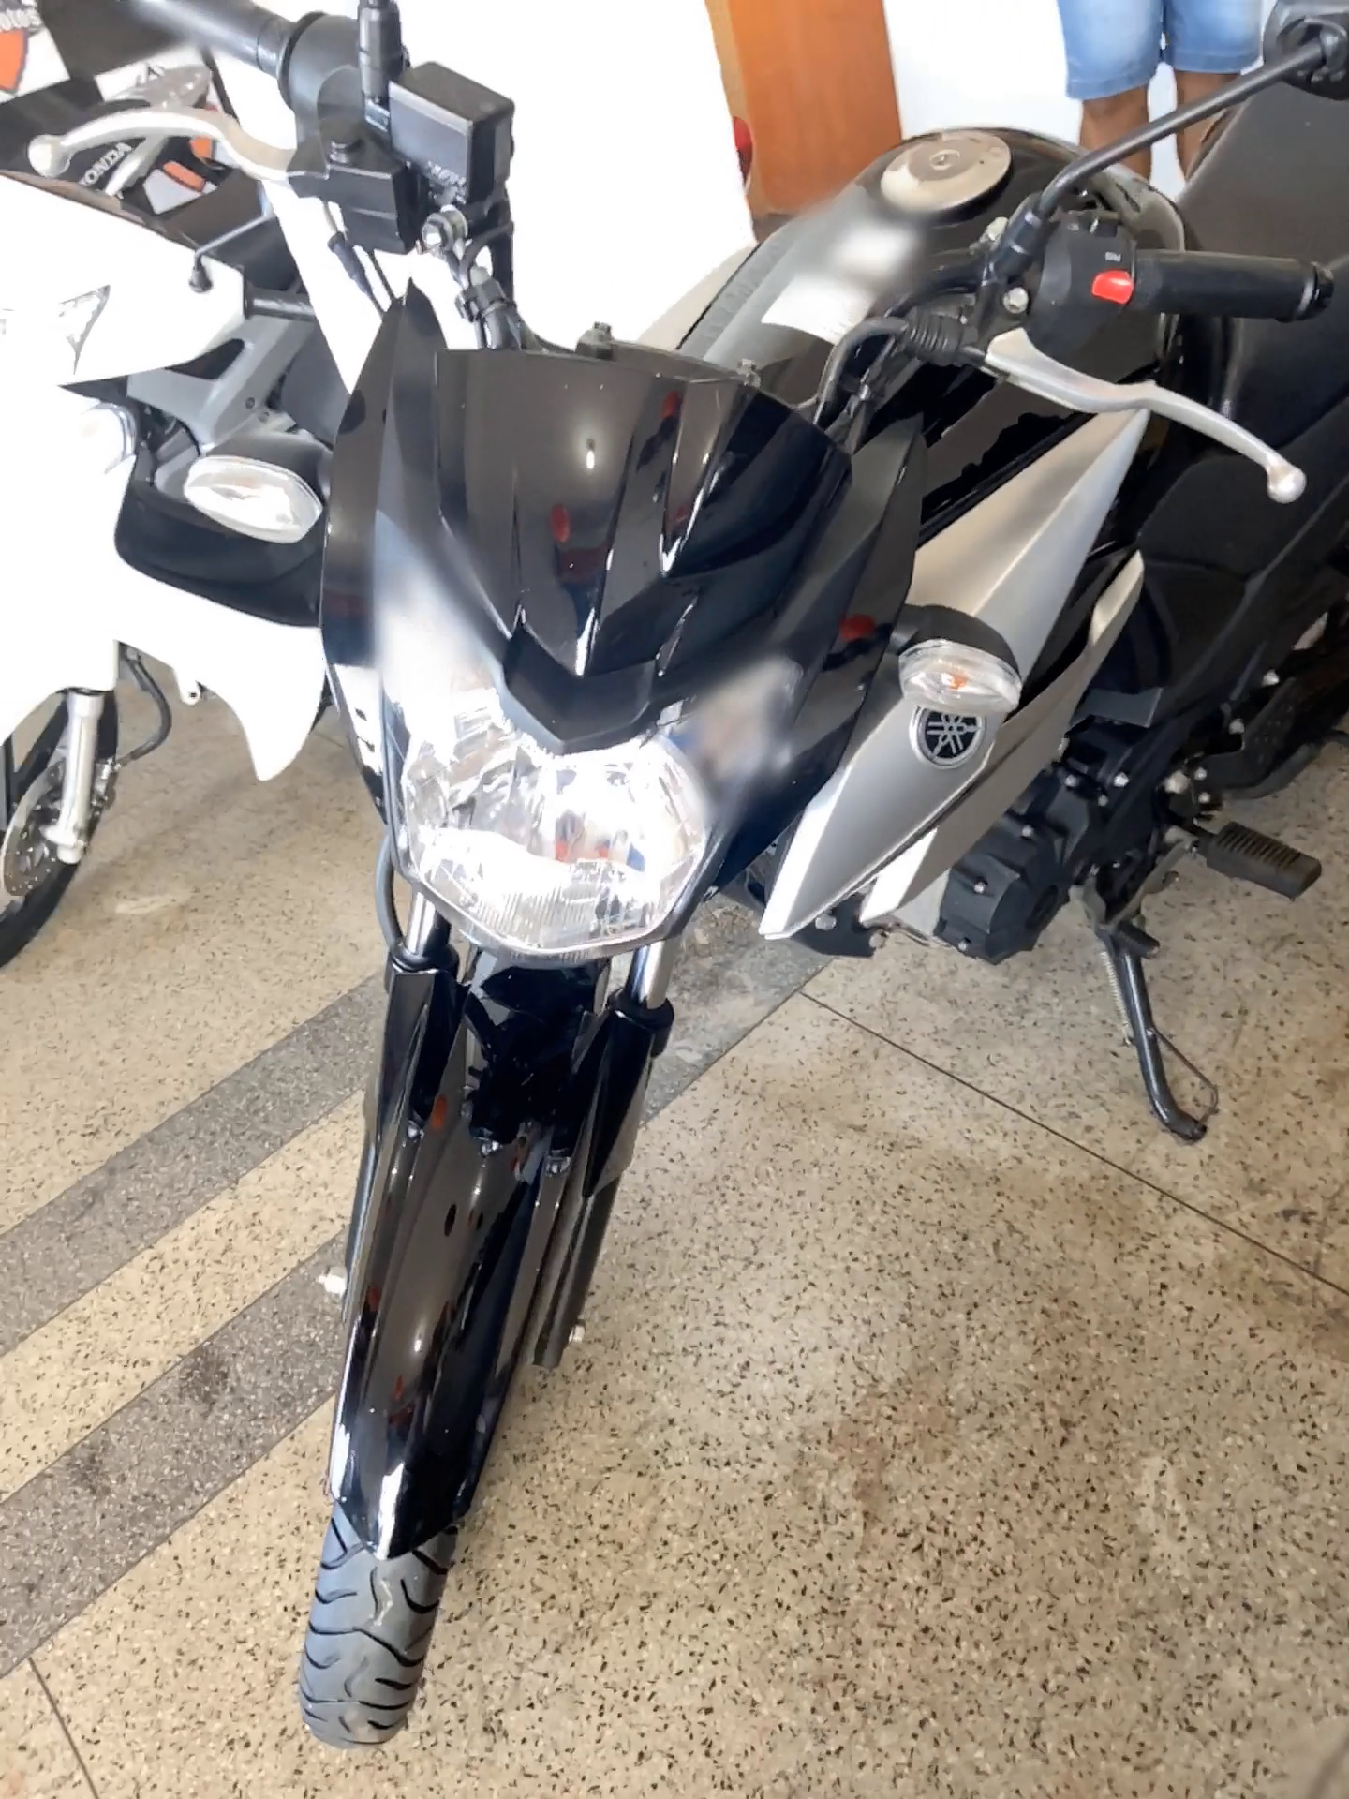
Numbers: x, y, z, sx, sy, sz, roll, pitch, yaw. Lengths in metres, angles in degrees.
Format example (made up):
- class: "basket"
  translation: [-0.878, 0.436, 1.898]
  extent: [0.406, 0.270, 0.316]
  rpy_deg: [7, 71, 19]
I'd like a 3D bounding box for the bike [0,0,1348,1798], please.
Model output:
- class: "bike"
  translation: [0.472, -0.207, 1.139]
  extent: [0.817, 1.331, 2.008]
  rpy_deg: [20, 50, 41]
